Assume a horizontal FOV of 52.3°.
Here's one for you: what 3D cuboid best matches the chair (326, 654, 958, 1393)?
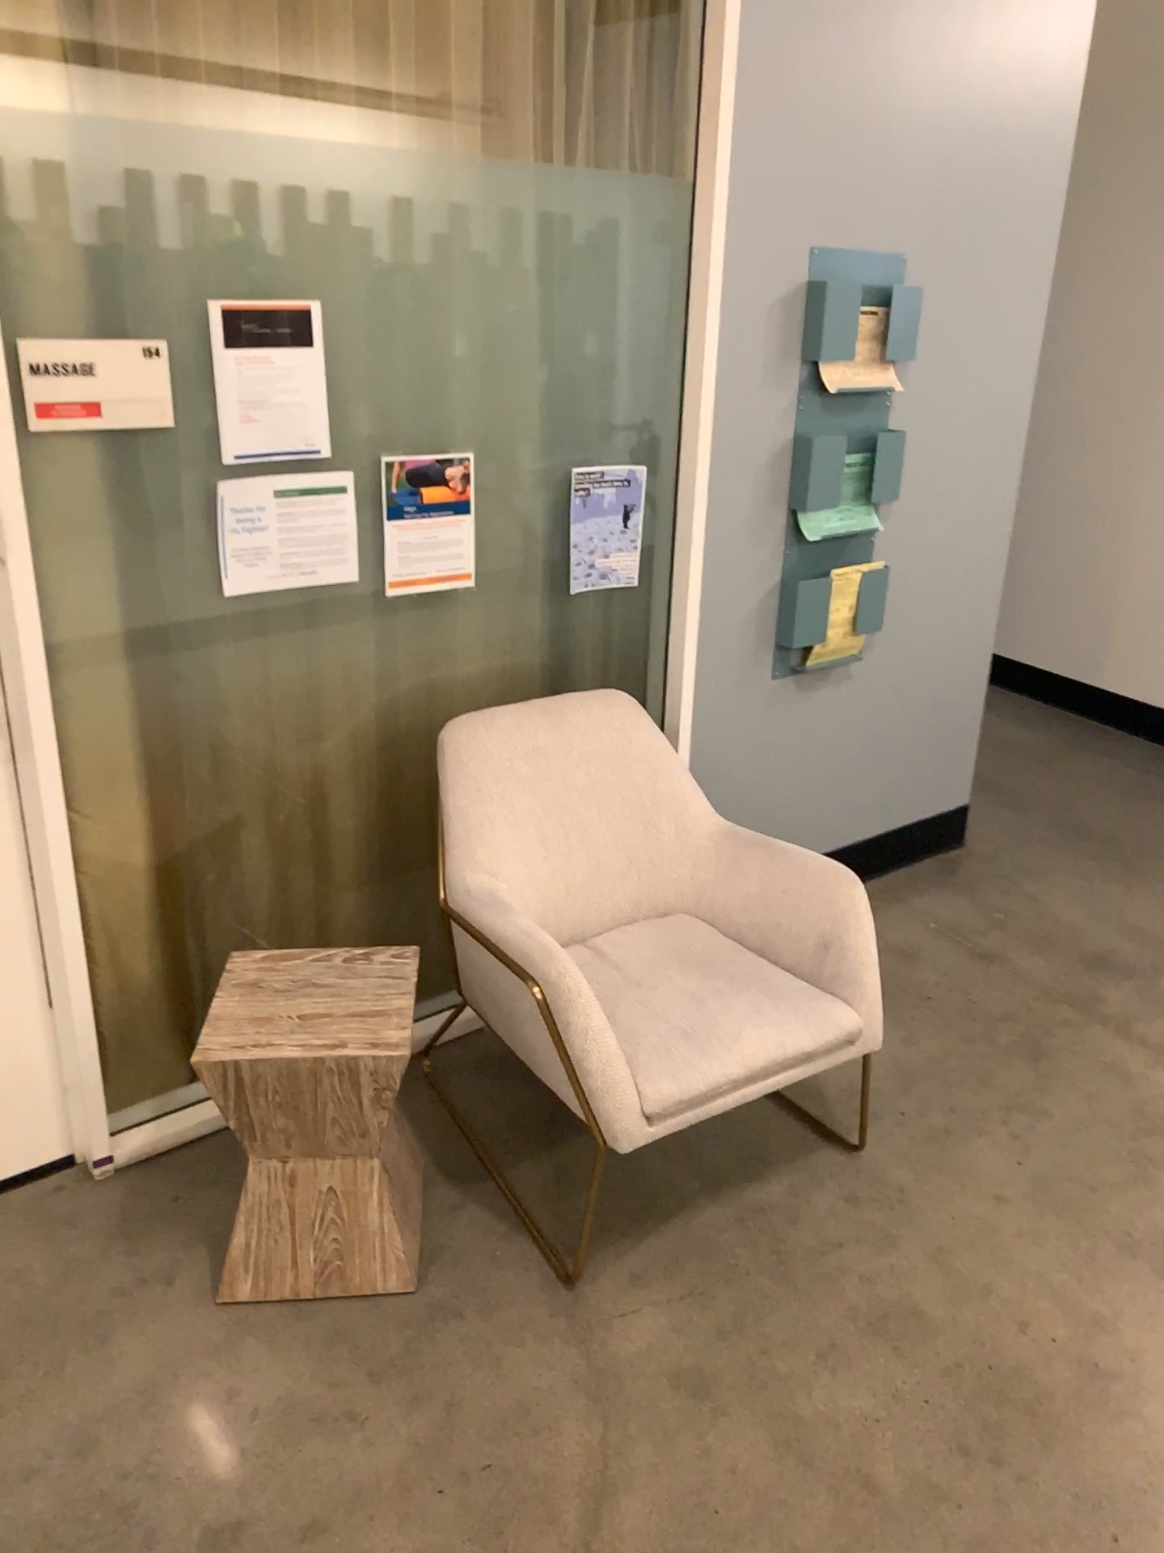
[{"bbox_3d":[0.064,0.367,2.326,0.781,0.925,0.874,-13,26,-33],"label":"chair"}]
